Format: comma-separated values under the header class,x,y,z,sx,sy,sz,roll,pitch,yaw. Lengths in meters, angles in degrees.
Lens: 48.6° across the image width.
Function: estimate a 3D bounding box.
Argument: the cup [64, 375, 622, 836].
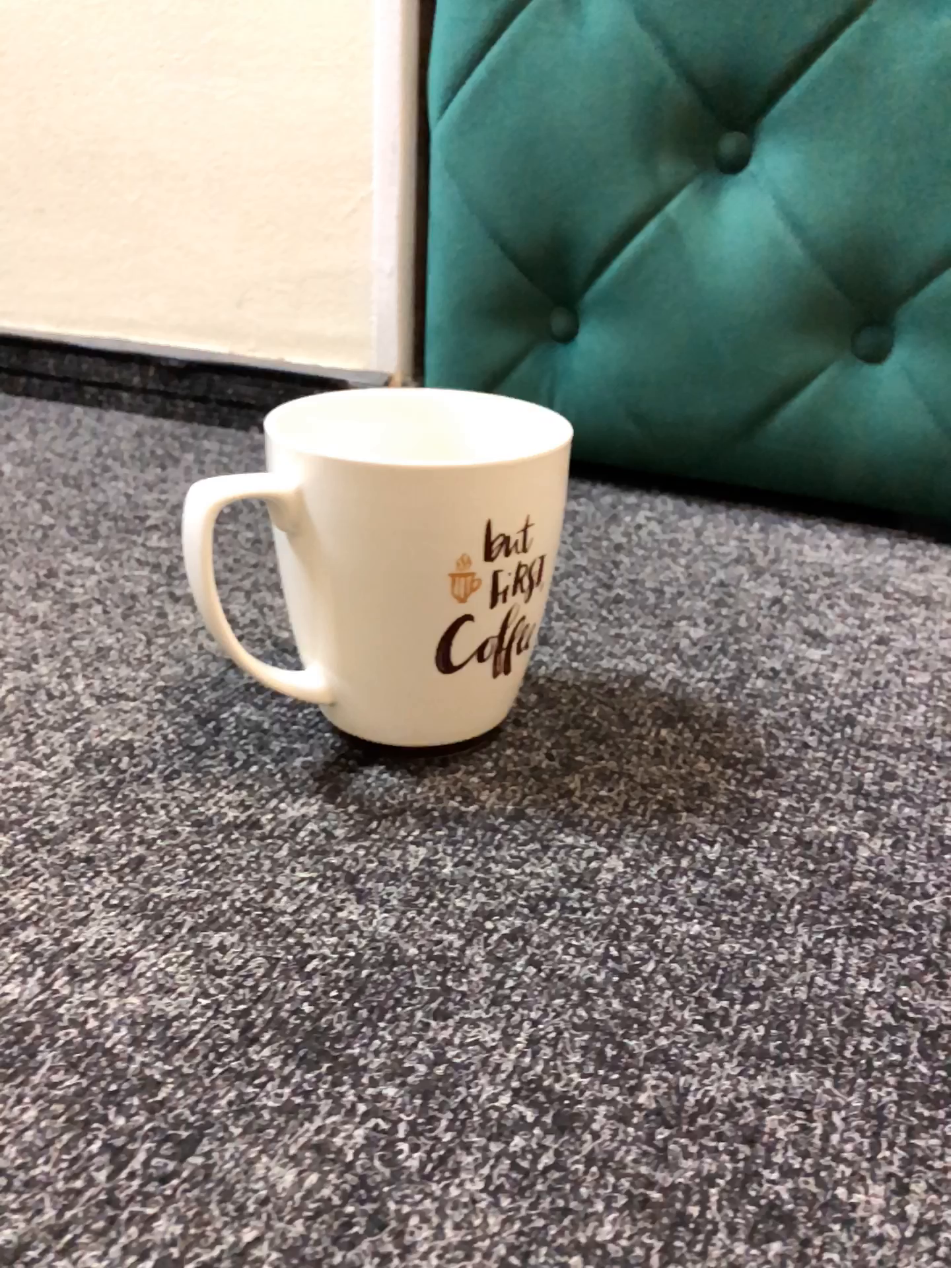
class,x,y,z,sx,sy,sz,roll,pitch,yaw
cup,-0.042,-0.024,0.366,0.110,0.100,0.146,23,31,39
